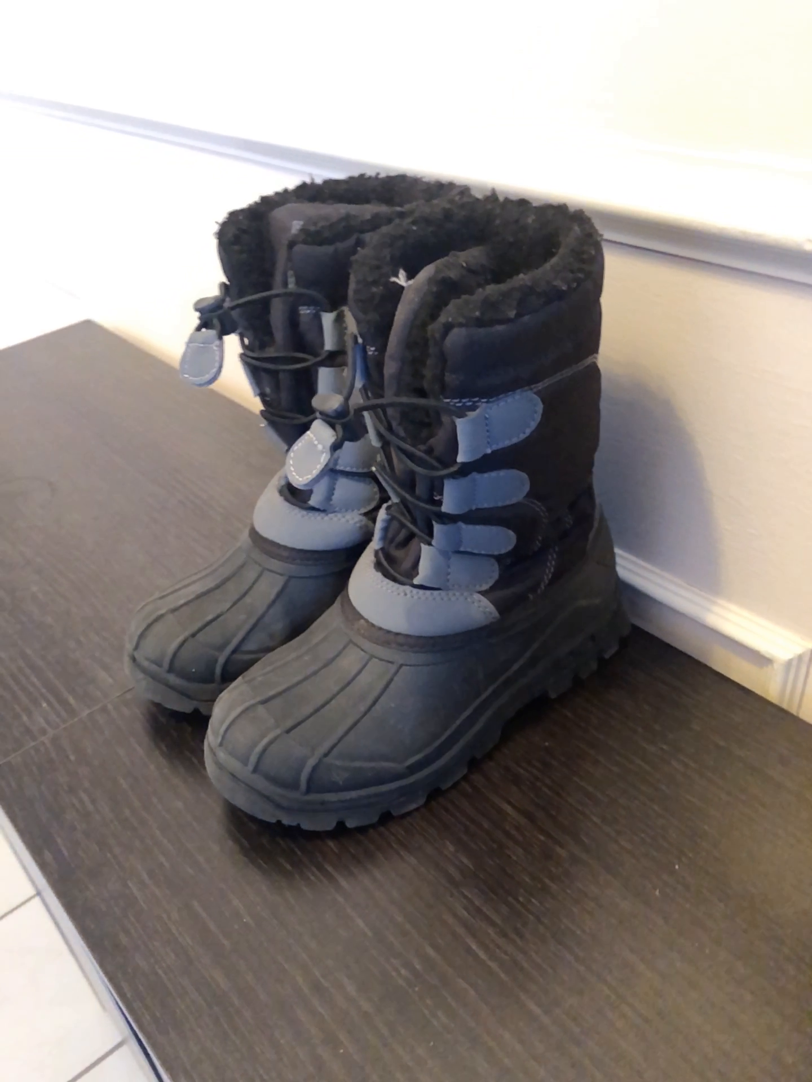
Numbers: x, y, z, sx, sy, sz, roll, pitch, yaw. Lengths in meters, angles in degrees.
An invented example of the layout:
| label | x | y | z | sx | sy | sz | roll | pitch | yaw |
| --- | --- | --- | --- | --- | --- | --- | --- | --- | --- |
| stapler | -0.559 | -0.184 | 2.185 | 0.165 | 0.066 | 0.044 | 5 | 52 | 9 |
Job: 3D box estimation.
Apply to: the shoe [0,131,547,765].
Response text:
| label | x | y | z | sx | sy | sz | roll | pitch | yaw |
| --- | --- | --- | --- | --- | --- | --- | --- | --- | --- |
| shoe | -0.049 | -0.053 | 0.419 | 0.220 | 0.209 | 0.101 | -28 | 41 | -28 |

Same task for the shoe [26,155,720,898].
| label | x | y | z | sx | sy | sz | roll | pitch | yaw |
| --- | --- | --- | --- | --- | --- | --- | --- | --- | --- |
| shoe | 0.004 | -0.017 | 0.363 | 0.220 | 0.209 | 0.101 | -28 | 41 | -28 |
